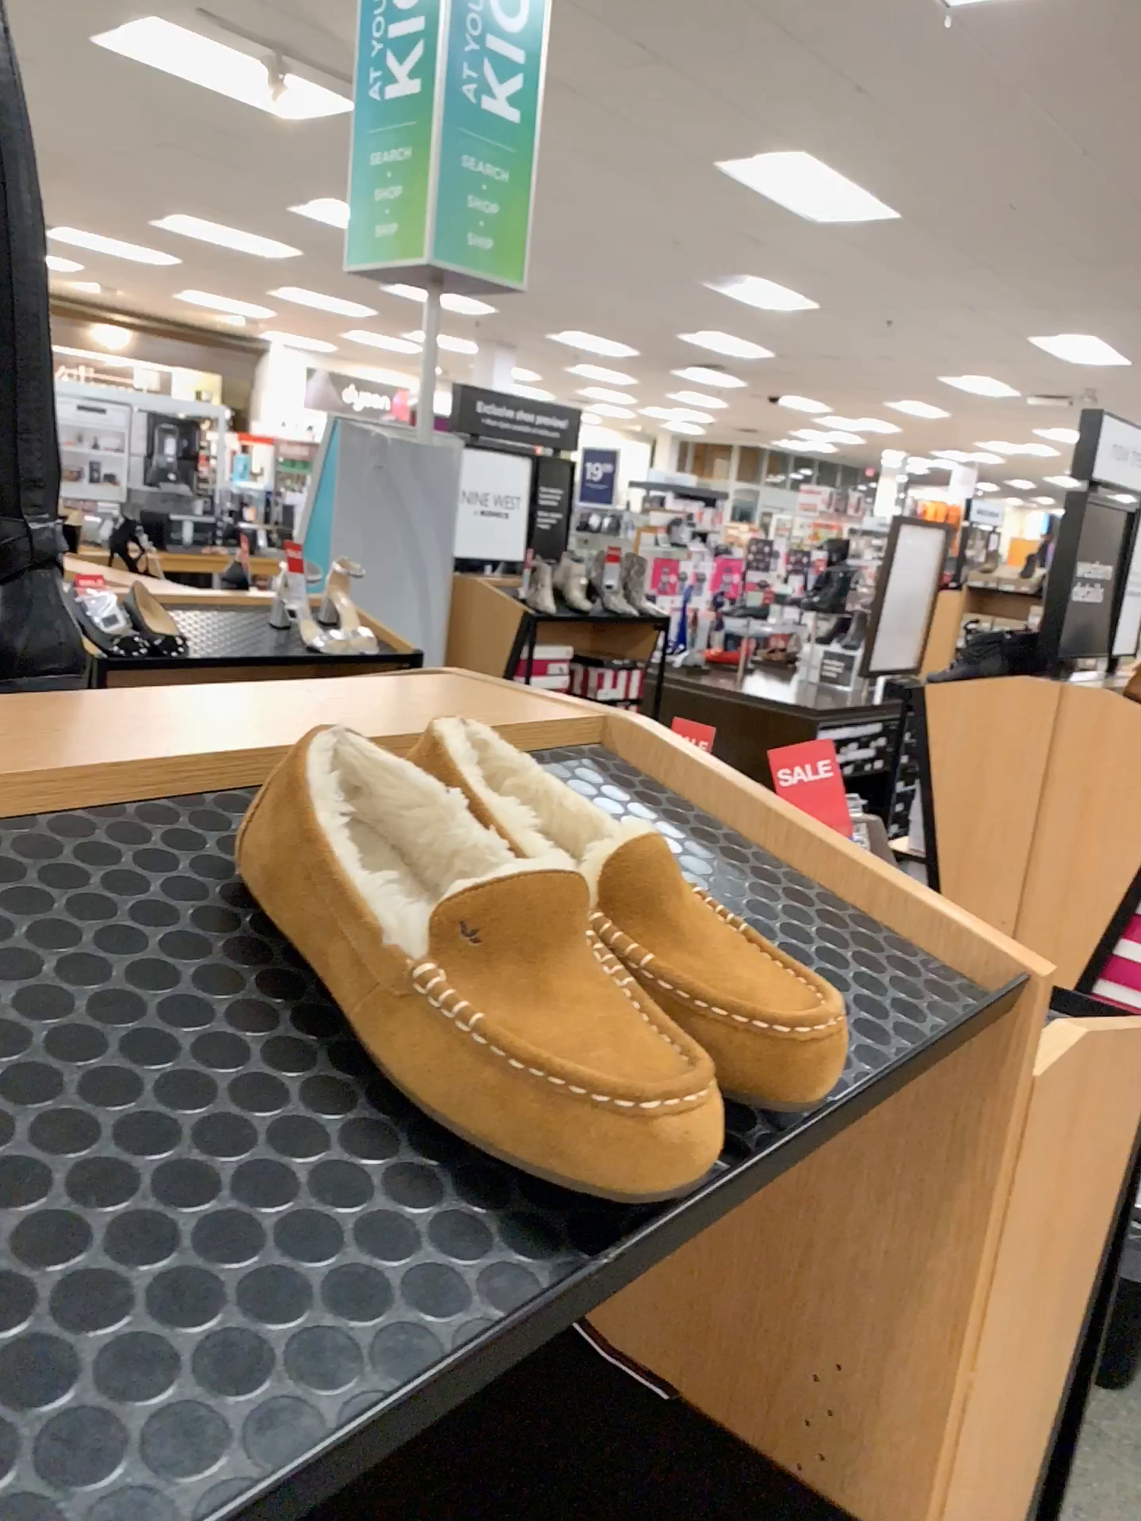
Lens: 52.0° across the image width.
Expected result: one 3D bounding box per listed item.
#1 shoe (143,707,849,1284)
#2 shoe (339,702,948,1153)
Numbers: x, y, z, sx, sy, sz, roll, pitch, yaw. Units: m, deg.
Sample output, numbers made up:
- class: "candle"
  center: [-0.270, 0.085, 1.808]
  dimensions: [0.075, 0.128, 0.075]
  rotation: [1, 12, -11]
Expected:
- class: "shoe"
  center: [-0.043, 0.062, 0.432]
  dimensions: [0.271, 0.060, 0.090]
  rotation: [30, 23, 35]
- class: "shoe"
  center: [0.019, 0.053, 0.497]
  dimensions: [0.251, 0.060, 0.090]
  rotation: [29, 23, 35]
